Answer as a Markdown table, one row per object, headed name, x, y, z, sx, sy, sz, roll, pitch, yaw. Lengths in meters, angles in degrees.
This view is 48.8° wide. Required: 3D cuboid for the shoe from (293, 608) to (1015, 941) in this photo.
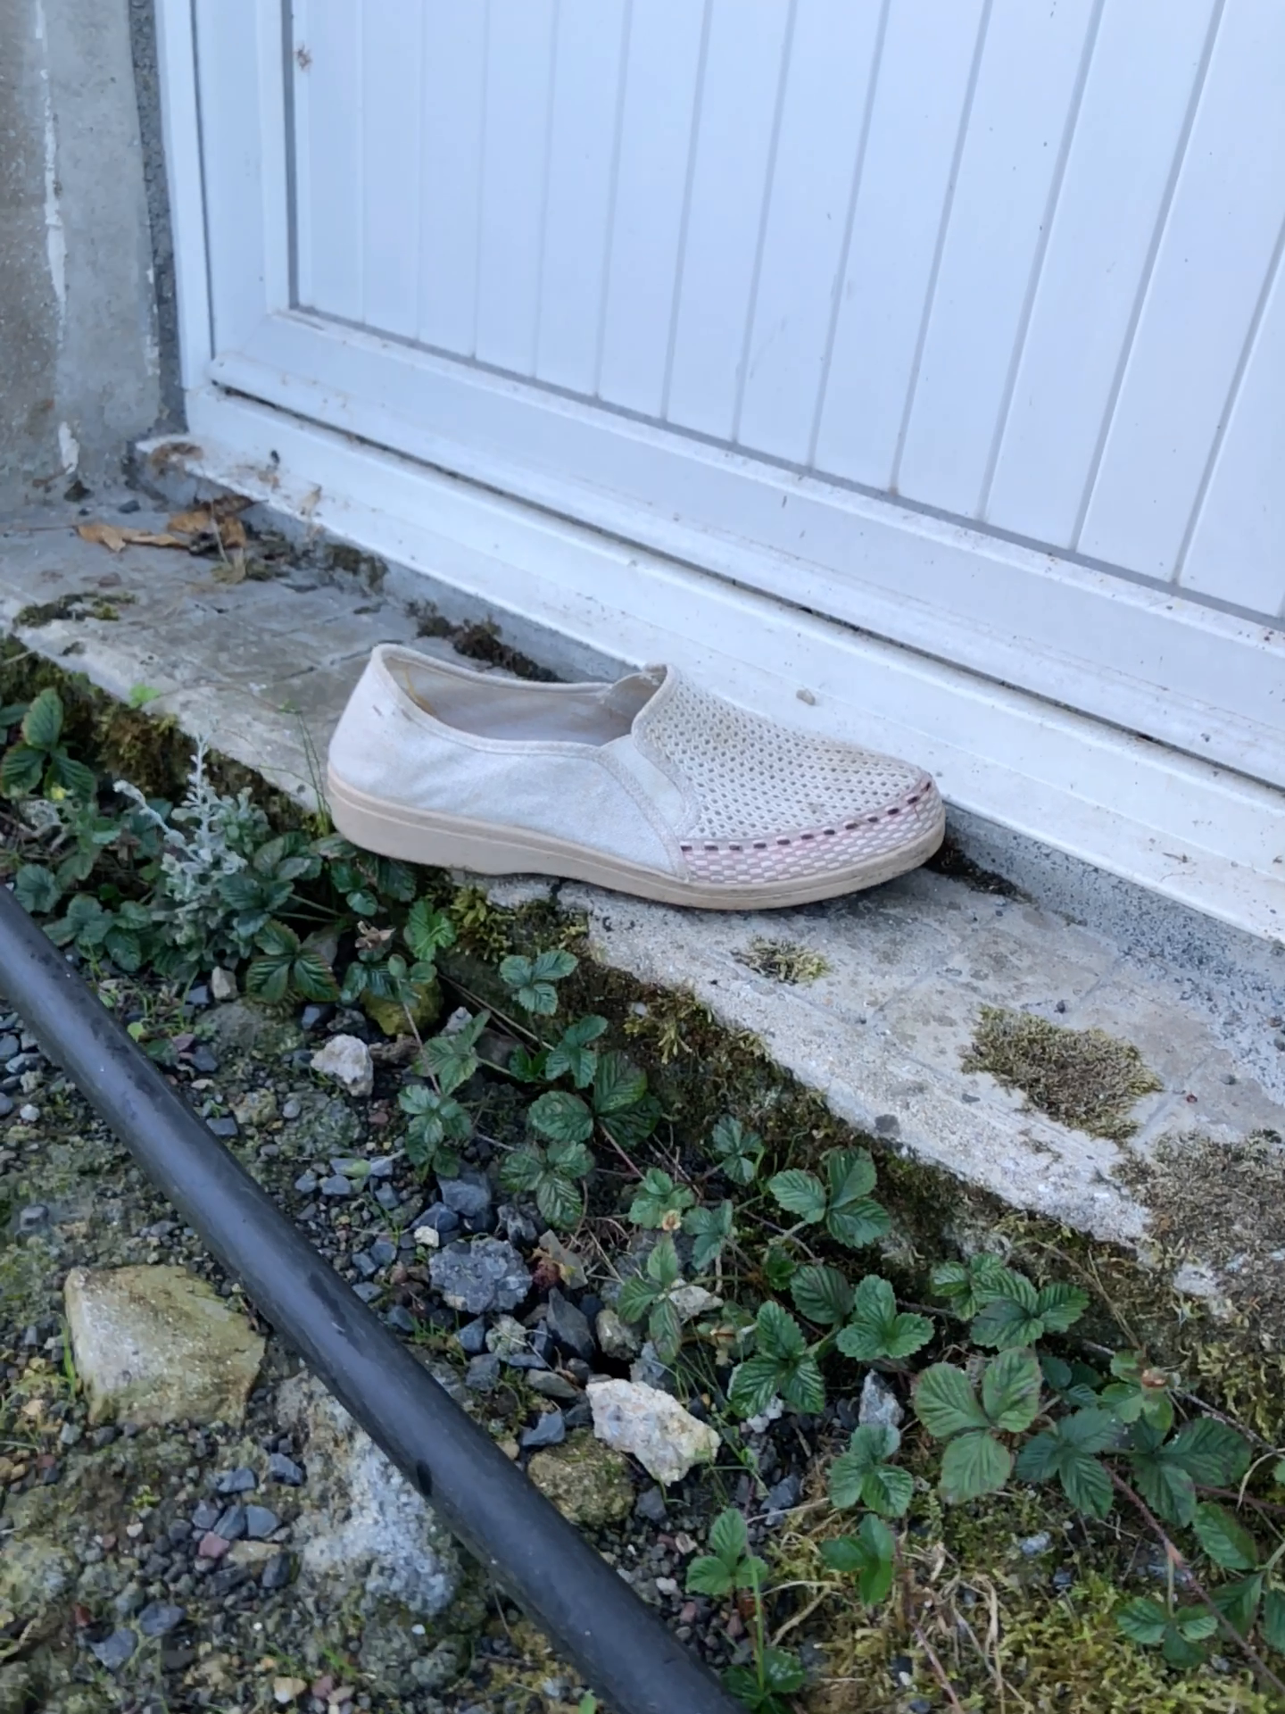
| name | x | y | z | sx | sy | sz | roll | pitch | yaw |
| --- | --- | --- | --- | --- | --- | --- | --- | --- | --- |
| shoe | 0.003 | -0.037 | 0.609 | 0.280 | 0.080 | 0.101 | 5 | 31 | -3 |
